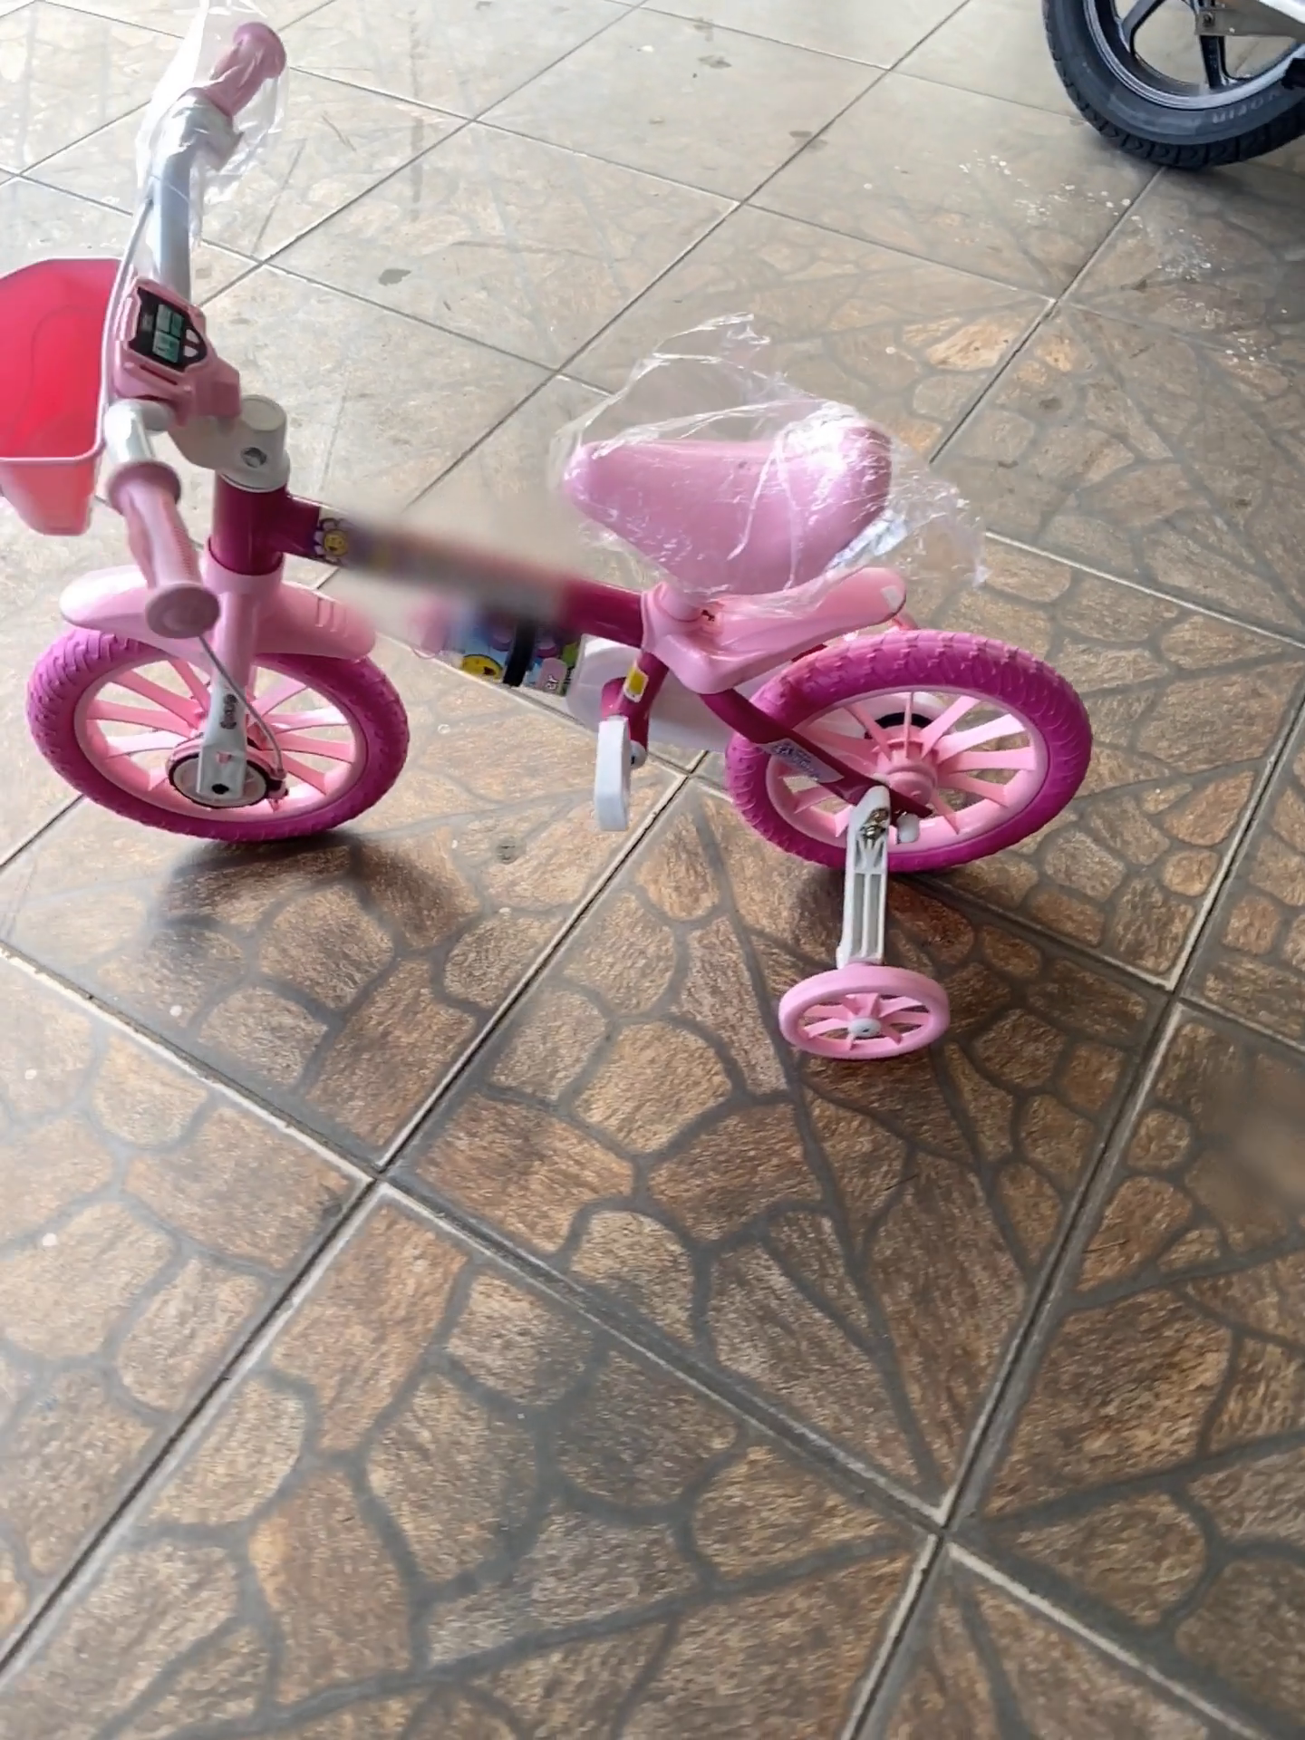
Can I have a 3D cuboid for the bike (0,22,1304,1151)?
[{"bbox_3d":[-0.089,-0.177,0.953,0.791,0.563,0.513,2,55,2],"label":"bike"}]
